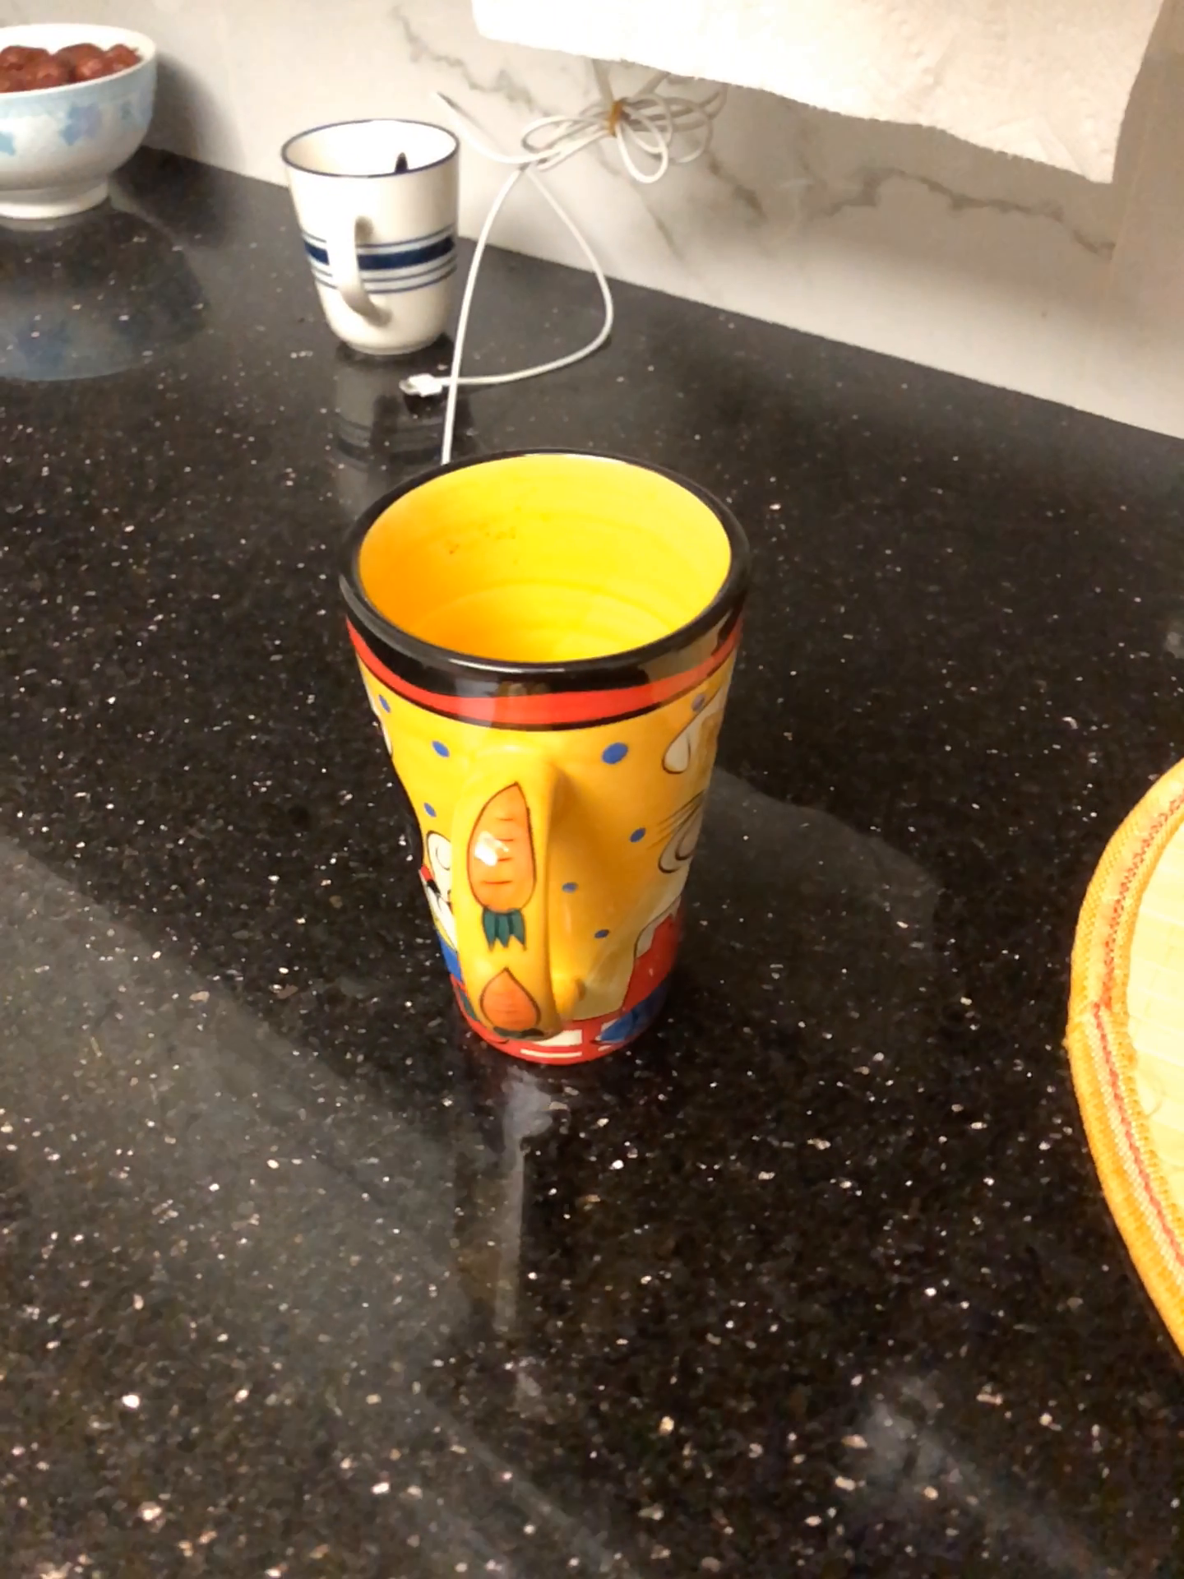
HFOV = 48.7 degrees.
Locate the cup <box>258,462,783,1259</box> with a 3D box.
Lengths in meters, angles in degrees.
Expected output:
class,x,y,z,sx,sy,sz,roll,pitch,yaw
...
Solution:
class,x,y,z,sx,sy,sz,roll,pitch,yaw
cup,-0.016,0.016,0.319,0.090,0.139,0.131,-2,41,-3
